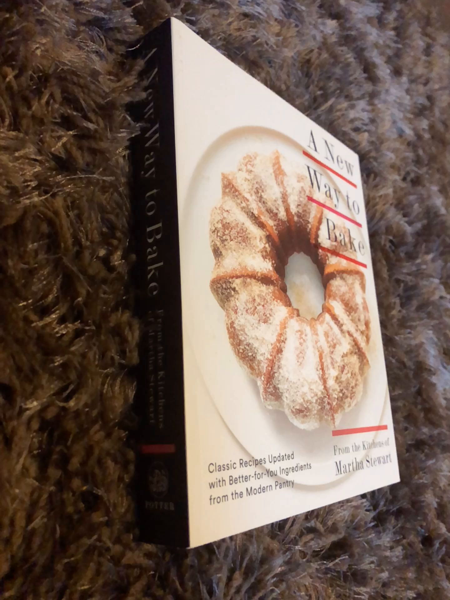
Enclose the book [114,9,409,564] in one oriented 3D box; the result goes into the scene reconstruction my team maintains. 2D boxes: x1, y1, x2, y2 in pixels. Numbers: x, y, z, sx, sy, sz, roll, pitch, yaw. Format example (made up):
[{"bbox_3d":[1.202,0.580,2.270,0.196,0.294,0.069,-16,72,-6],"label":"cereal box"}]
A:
[{"bbox_3d":[0.031,-0.003,0.285,0.193,0.040,0.229,11,70,-49],"label":"book"}]
